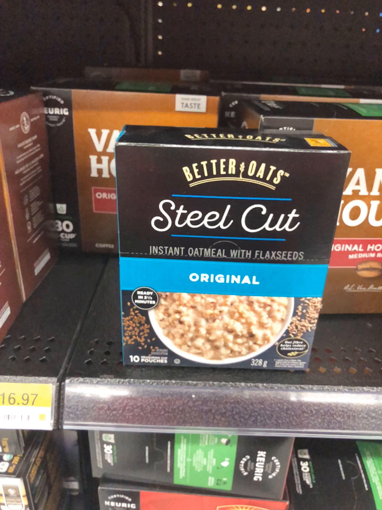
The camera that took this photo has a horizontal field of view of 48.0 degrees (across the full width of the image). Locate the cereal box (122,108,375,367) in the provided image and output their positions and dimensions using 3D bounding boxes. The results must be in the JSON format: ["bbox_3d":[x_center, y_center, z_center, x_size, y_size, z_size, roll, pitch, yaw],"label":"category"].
[{"bbox_3d":[0.029,-0.007,0.322,0.150,0.179,0.060,2,29,-3],"label":"cereal box"}]
